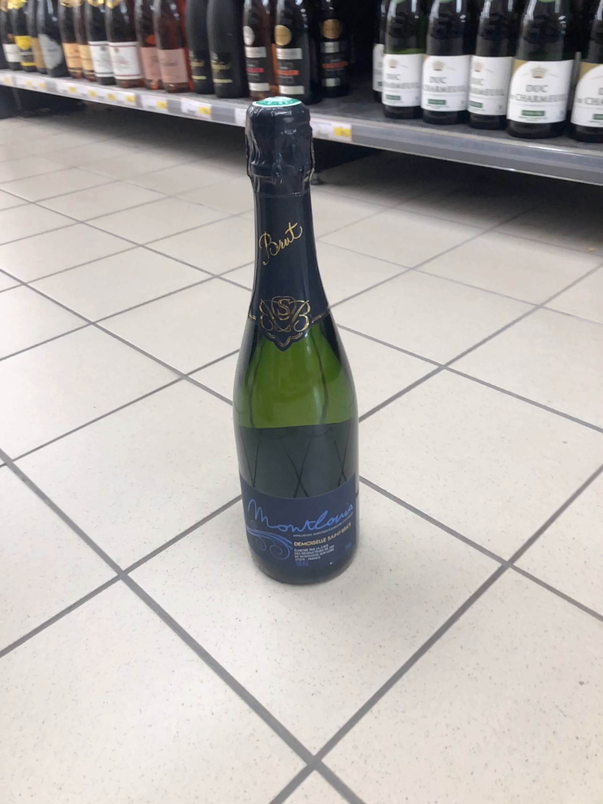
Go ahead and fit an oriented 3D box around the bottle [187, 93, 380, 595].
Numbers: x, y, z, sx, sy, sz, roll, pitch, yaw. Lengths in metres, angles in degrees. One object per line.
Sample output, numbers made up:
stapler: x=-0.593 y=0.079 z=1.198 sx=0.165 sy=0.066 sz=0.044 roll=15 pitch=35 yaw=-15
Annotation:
bottle: x=-0.002 y=-0.021 z=0.427 sx=0.090 sy=0.308 sz=0.091 roll=-3 pitch=32 yaw=2
